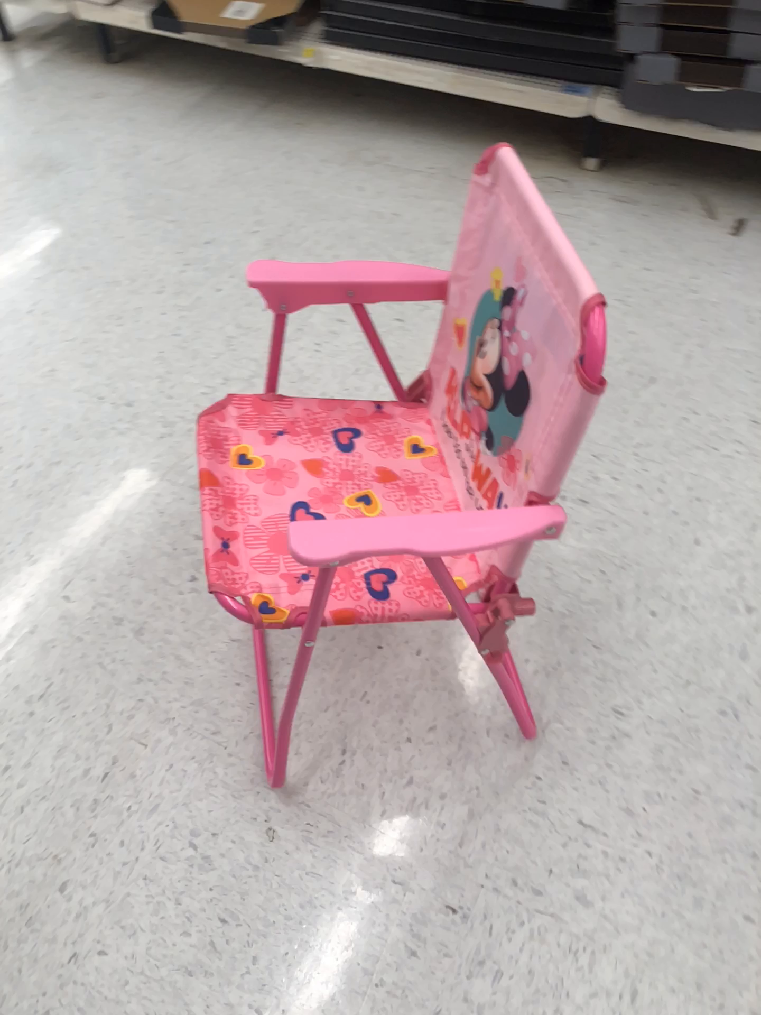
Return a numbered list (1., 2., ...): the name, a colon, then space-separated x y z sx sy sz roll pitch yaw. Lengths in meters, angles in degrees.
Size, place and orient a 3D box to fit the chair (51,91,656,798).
1. chair: -0.030 -0.032 0.767 0.340 0.488 0.361 -9 51 -4
